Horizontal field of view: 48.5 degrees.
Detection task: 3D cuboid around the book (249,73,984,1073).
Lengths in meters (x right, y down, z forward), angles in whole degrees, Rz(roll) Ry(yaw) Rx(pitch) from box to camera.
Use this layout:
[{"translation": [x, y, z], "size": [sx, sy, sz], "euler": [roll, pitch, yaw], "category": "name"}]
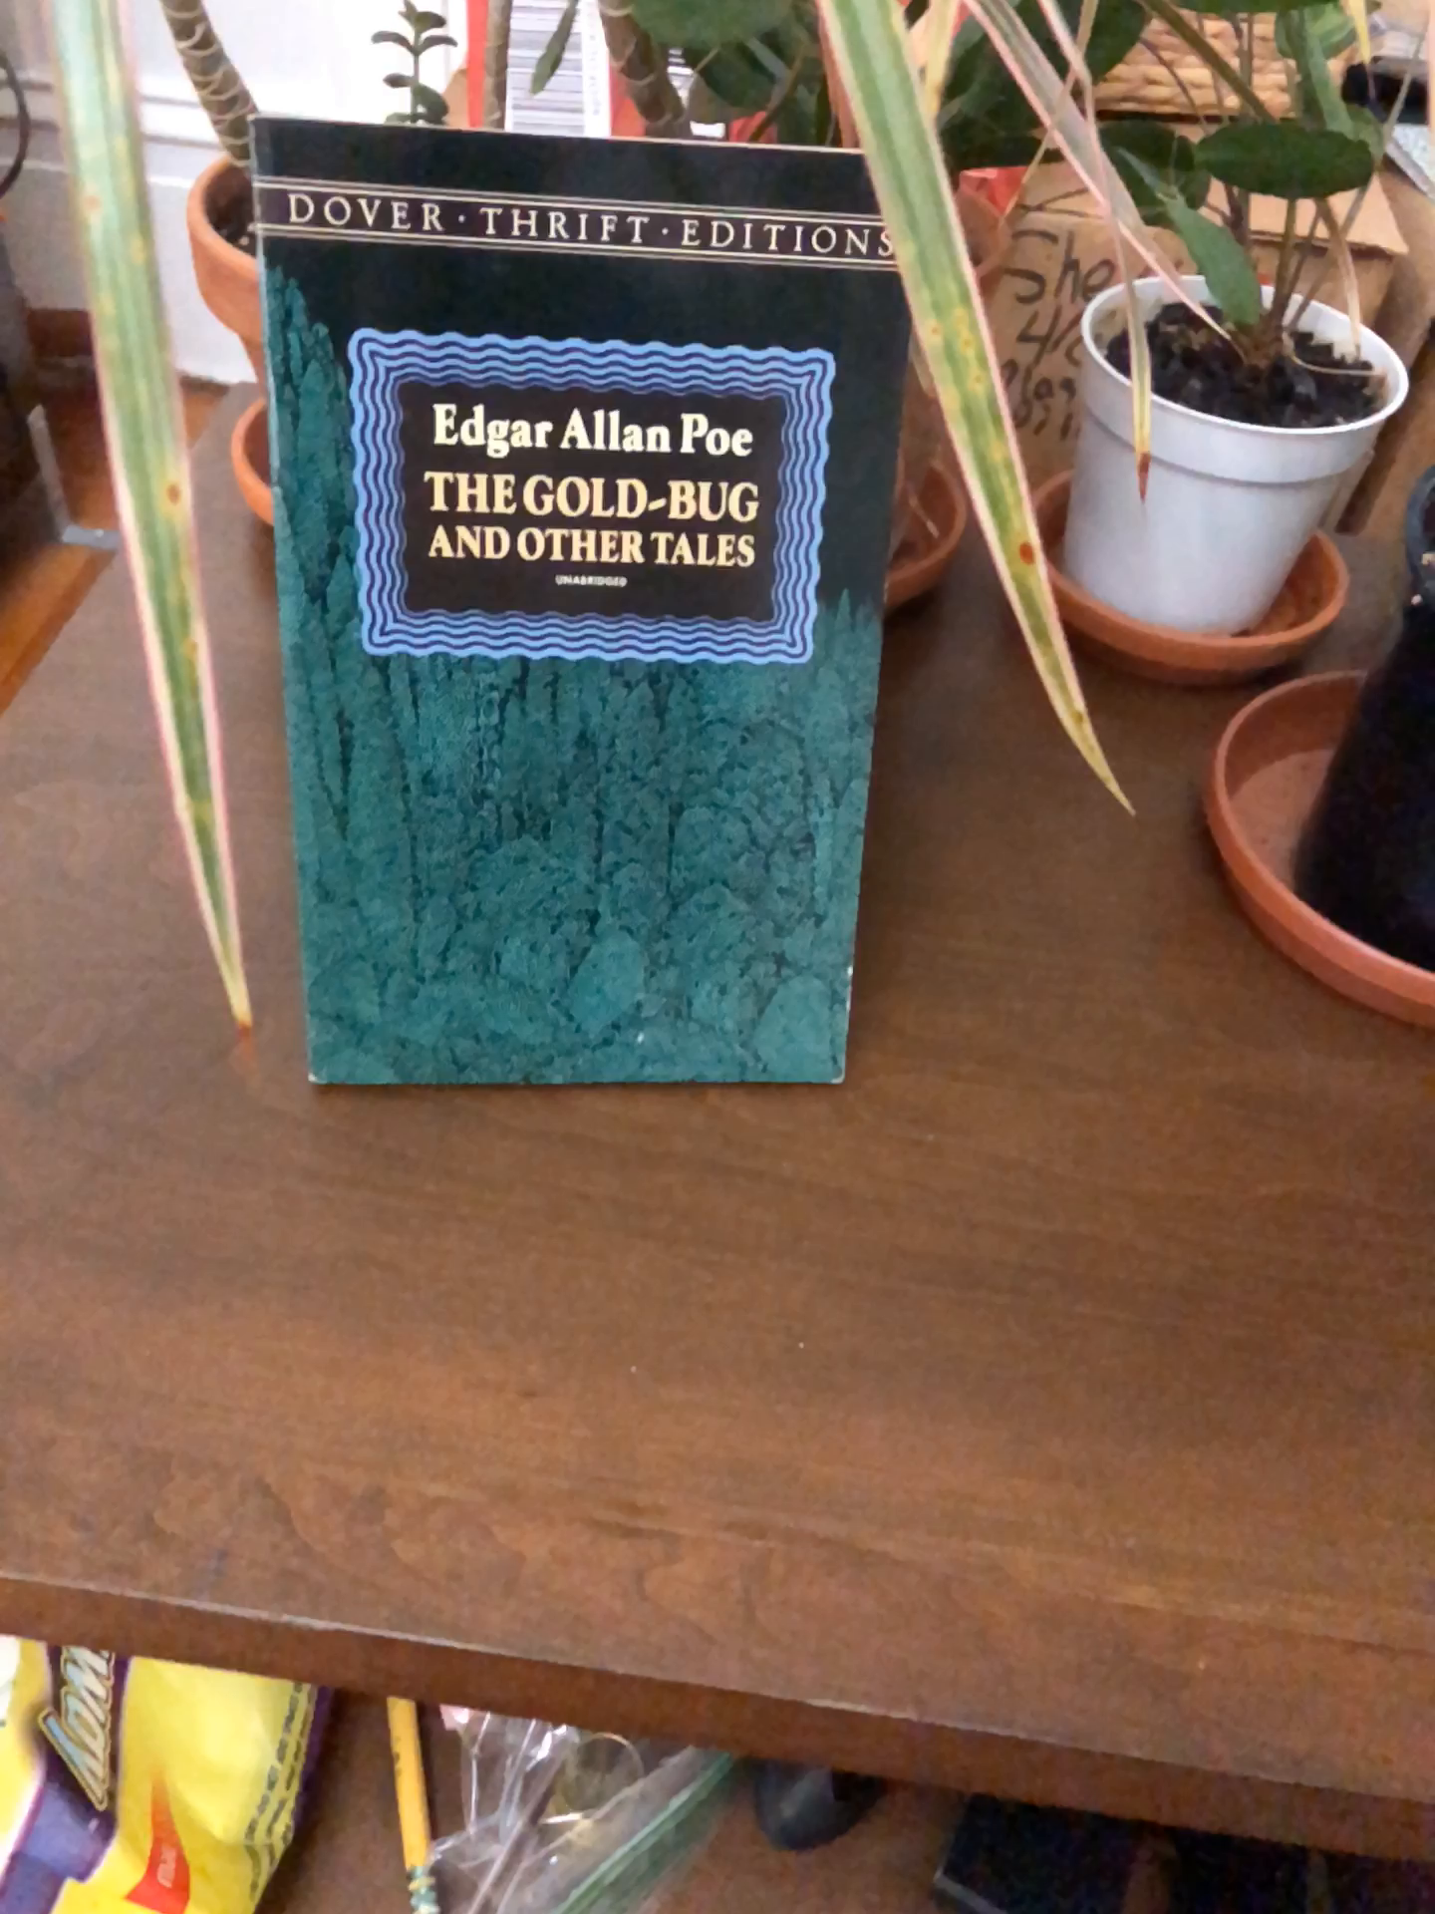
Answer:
[{"translation": [-0.023, -0.072, 0.354], "size": [0.140, 0.209, 0.020], "euler": [0, 23, -6], "category": "book"}]
